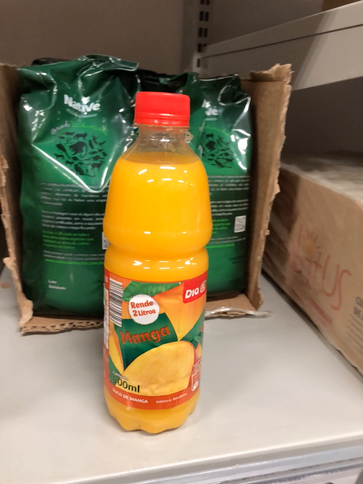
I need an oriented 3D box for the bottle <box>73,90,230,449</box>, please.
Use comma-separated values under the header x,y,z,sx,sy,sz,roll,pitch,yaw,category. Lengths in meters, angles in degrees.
x,y,z,sx,sy,sz,roll,pitch,yaw,category
-0.015,0.016,0.244,0.070,0.199,0.060,5,19,9,bottle
